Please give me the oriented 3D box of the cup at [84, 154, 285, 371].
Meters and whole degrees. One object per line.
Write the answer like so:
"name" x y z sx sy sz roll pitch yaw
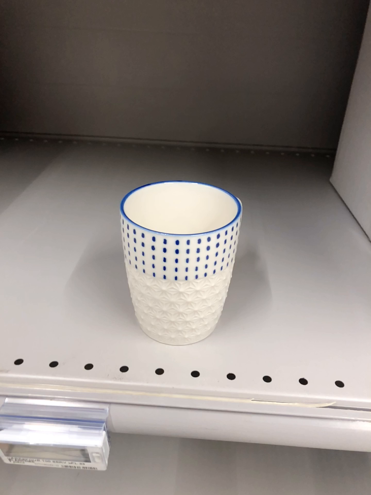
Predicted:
"cup" 0.005 0.002 0.314 0.096 0.096 0.120 17 35 23
